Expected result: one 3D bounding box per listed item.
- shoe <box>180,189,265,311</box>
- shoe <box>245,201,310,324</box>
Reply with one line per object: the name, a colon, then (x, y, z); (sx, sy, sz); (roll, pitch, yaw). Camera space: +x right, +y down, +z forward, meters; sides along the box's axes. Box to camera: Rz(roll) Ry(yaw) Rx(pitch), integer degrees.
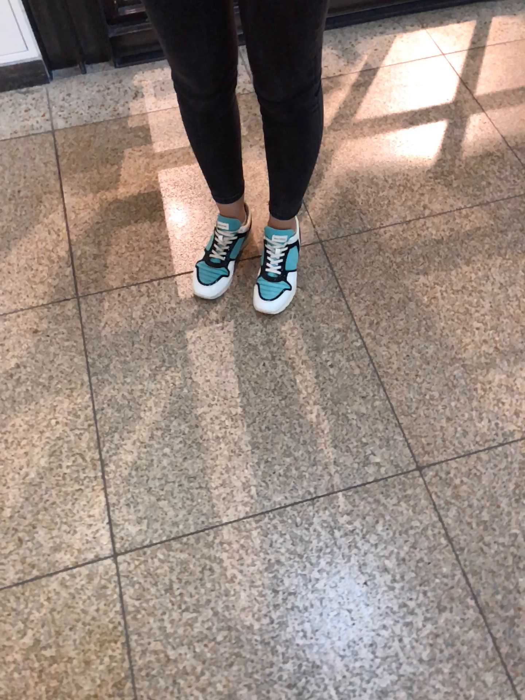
shoe: (-0.085, -0.231, 1.322); (0.100, 0.120, 0.240); (17, 61, 11)
shoe: (0.037, -0.198, 1.287); (0.100, 0.120, 0.240); (9, 60, 7)
